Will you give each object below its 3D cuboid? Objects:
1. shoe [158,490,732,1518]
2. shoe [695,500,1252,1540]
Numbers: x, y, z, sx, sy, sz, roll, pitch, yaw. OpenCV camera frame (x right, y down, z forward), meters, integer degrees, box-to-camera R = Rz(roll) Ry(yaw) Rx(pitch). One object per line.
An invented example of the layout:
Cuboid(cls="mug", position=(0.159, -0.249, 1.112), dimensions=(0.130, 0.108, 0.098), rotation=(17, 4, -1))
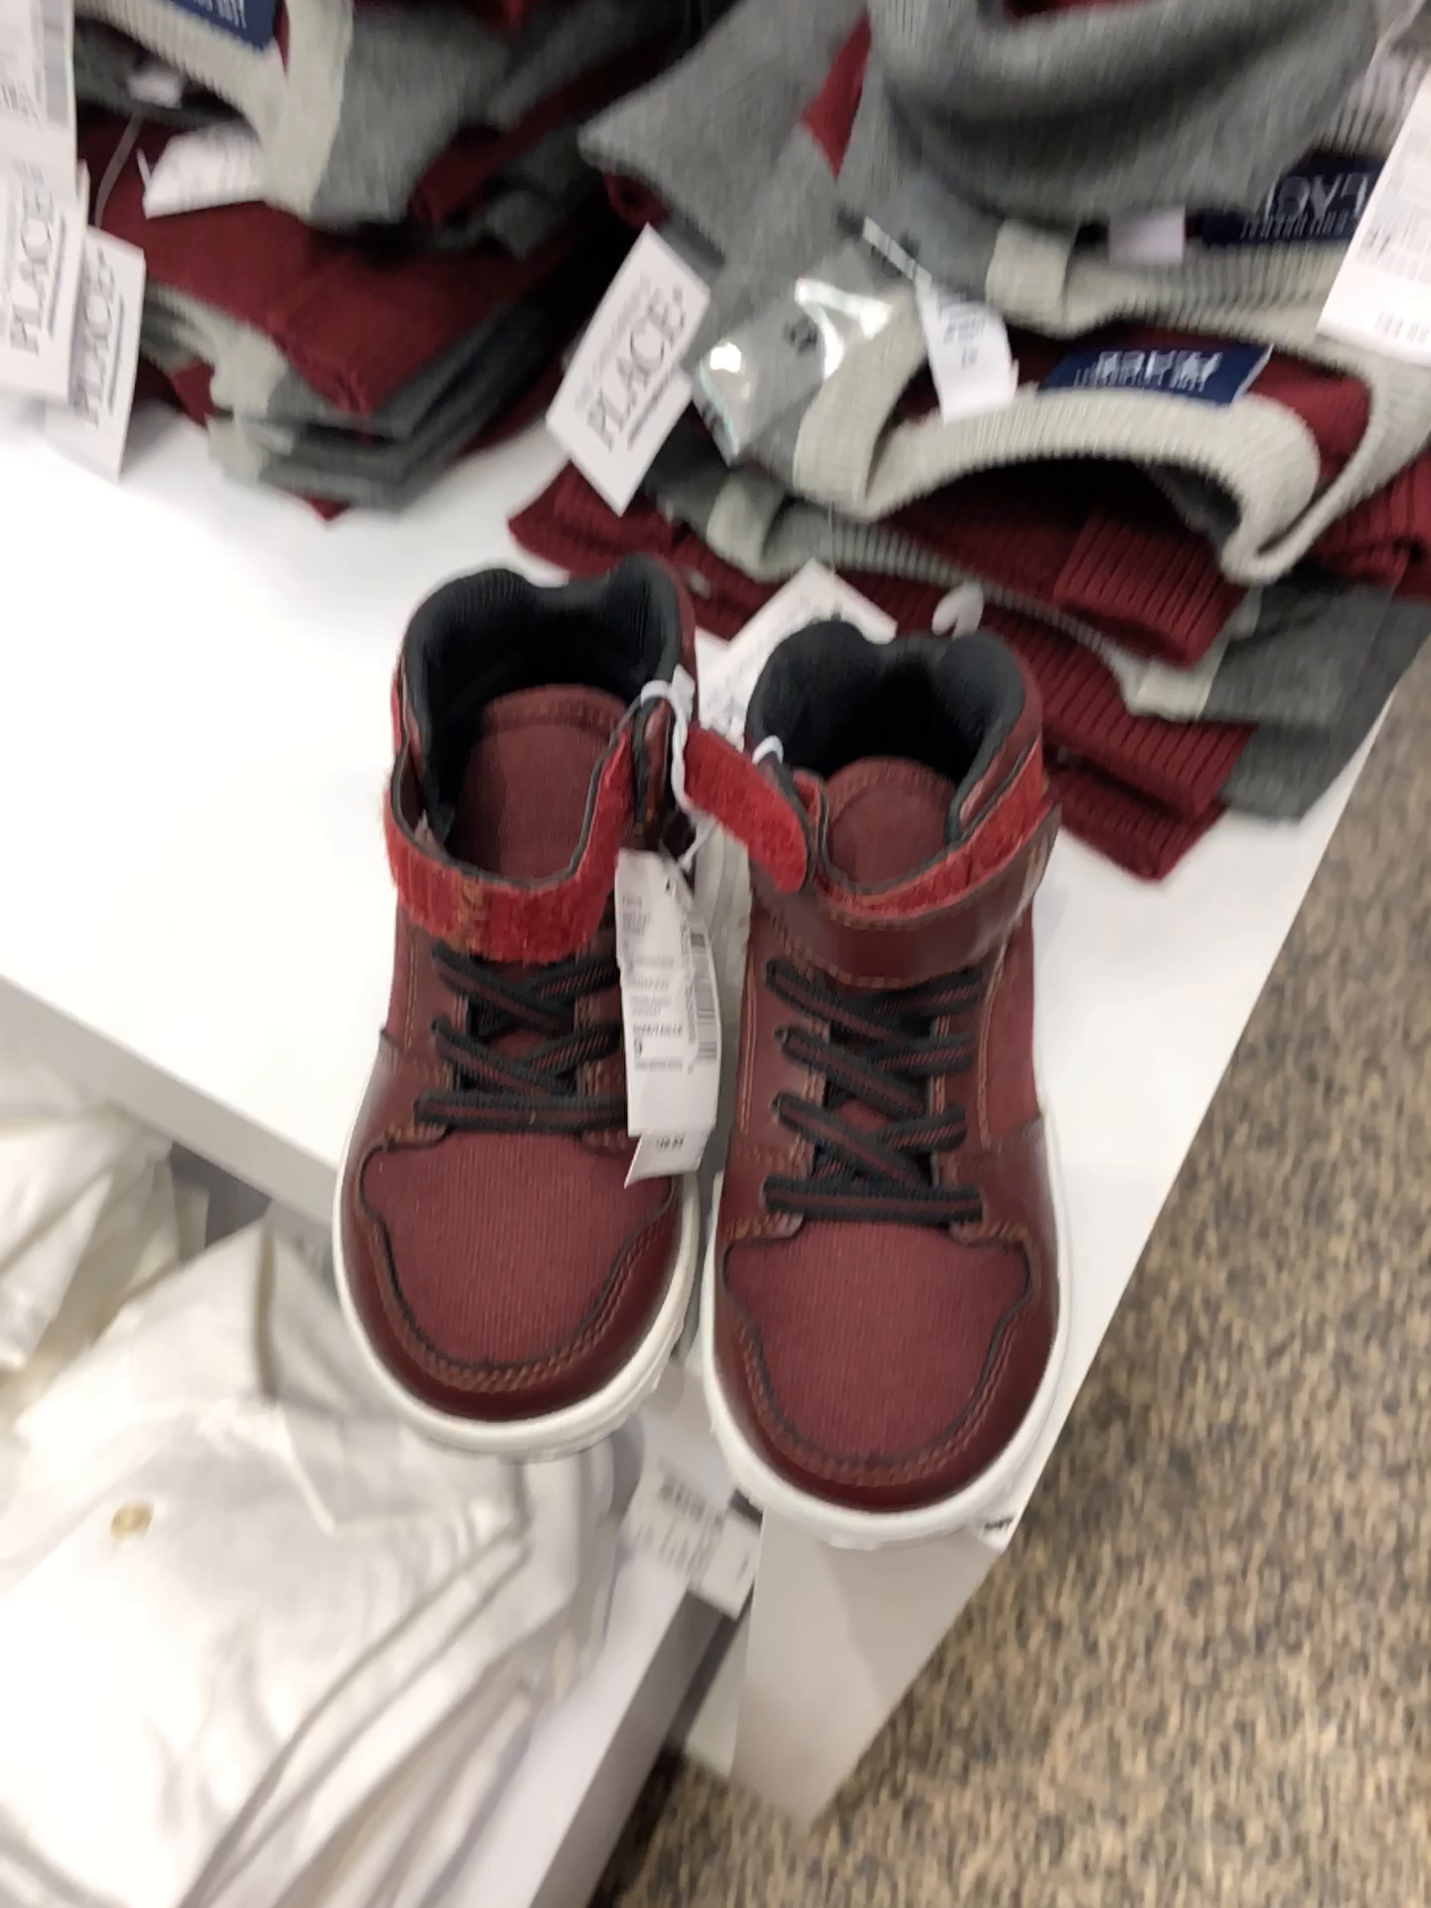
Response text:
Cuboid(cls="shoe", position=(-0.037, 0.009, 0.297), dimensions=(0.070, 0.100, 0.160), rotation=(3, 58, 1))
Cuboid(cls="shoe", position=(0.041, 0.011, 0.322), dimensions=(0.080, 0.100, 0.180), rotation=(3, 58, 1))
